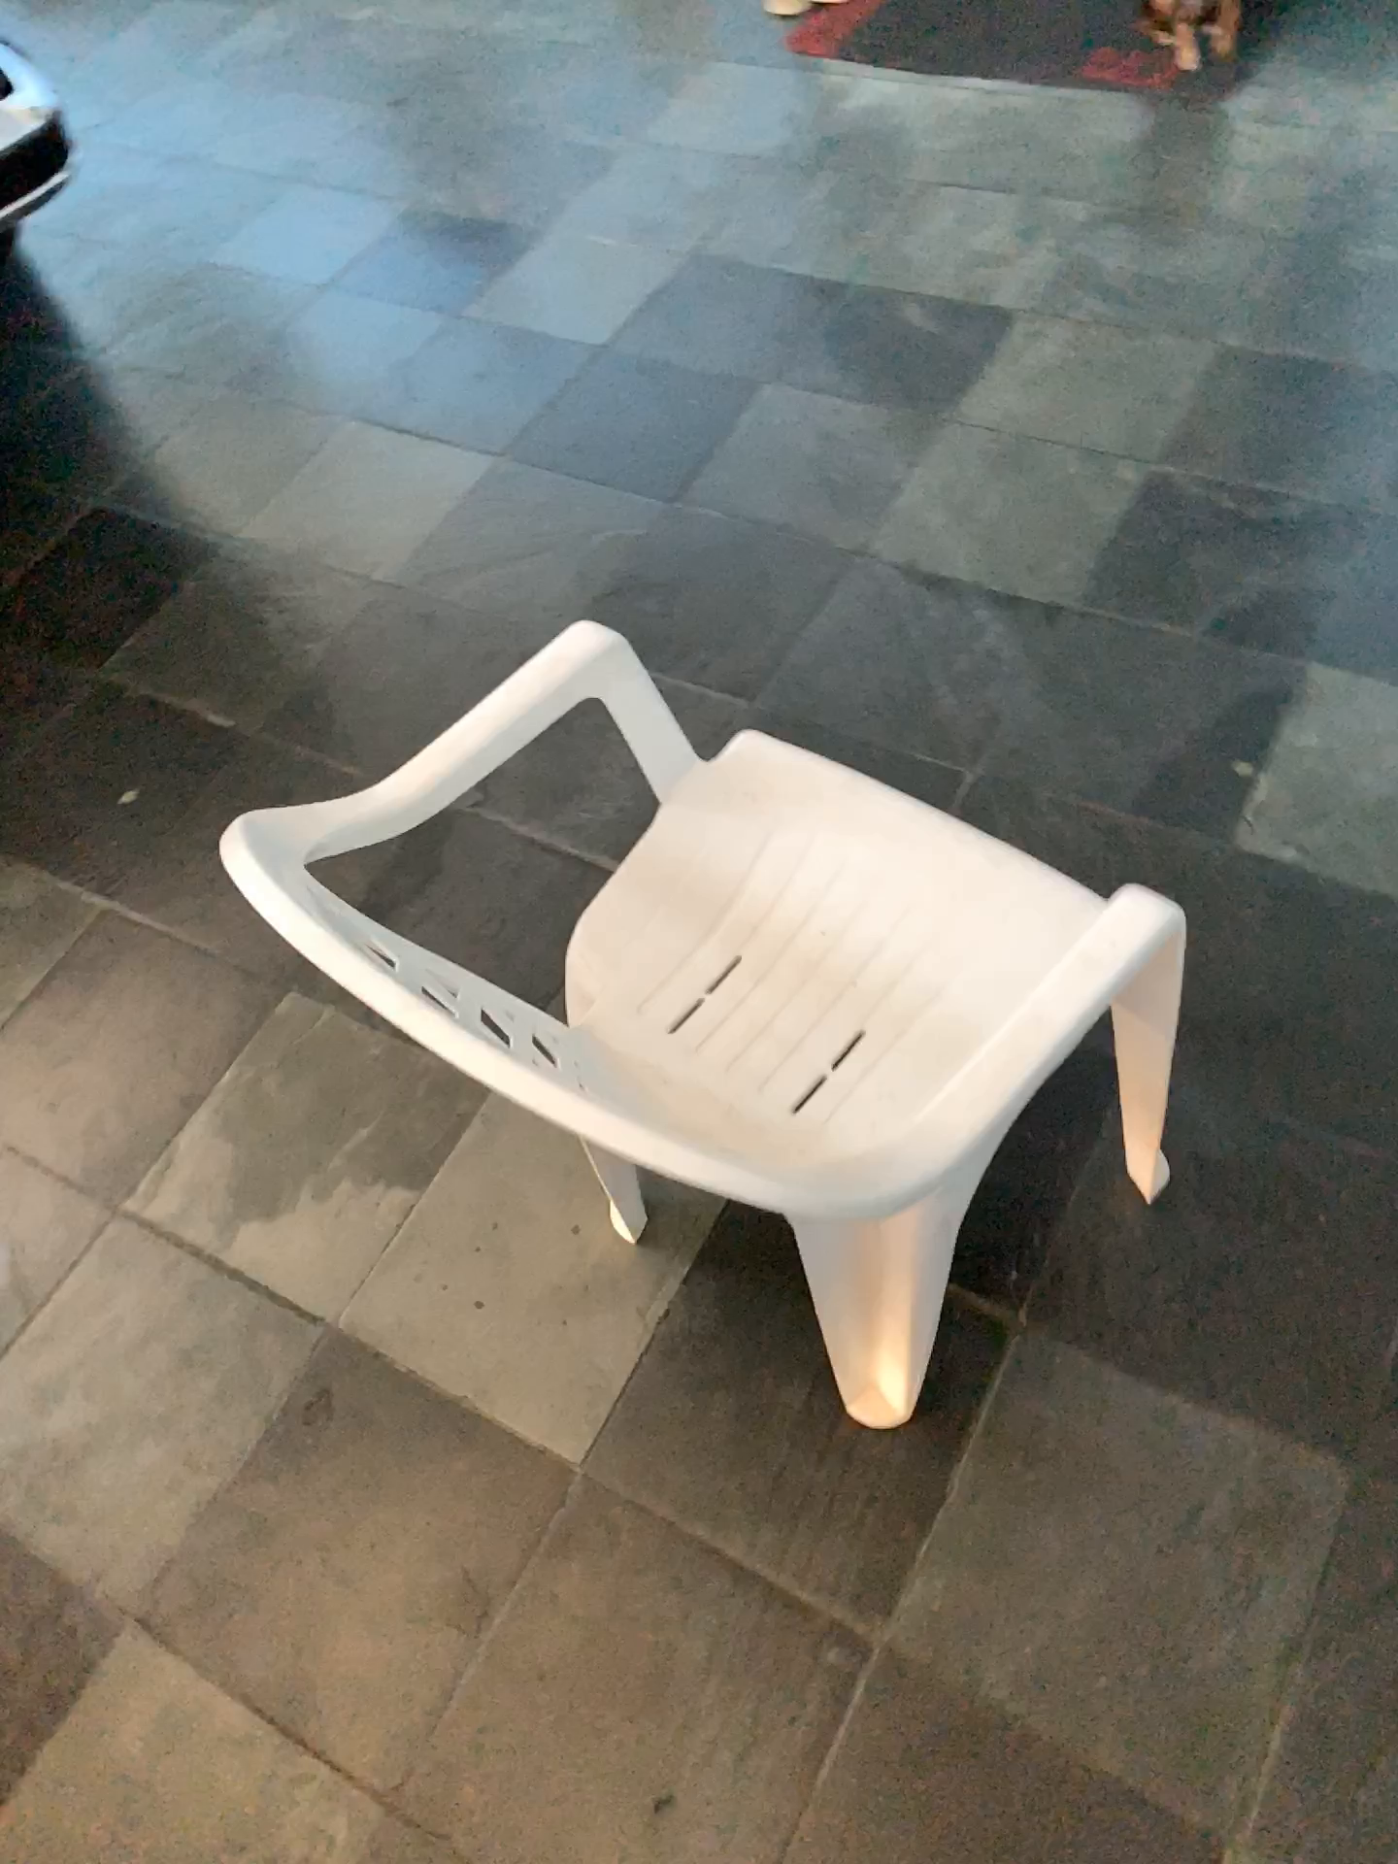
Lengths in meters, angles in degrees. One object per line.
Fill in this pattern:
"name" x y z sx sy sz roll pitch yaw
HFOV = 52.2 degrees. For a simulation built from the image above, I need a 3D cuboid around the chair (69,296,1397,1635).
"chair" 0.074 0.051 1.120 0.541 0.717 0.591 28 64 27
